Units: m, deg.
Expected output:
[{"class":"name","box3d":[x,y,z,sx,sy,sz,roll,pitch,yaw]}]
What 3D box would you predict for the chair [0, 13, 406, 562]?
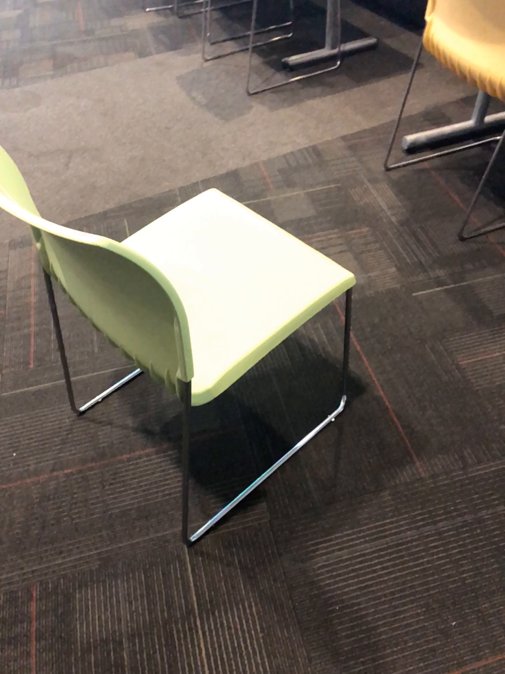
[{"class":"chair","box3d":[-0.145,-0.087,1.100,0.540,0.757,0.542,-35,55,-25]}]
